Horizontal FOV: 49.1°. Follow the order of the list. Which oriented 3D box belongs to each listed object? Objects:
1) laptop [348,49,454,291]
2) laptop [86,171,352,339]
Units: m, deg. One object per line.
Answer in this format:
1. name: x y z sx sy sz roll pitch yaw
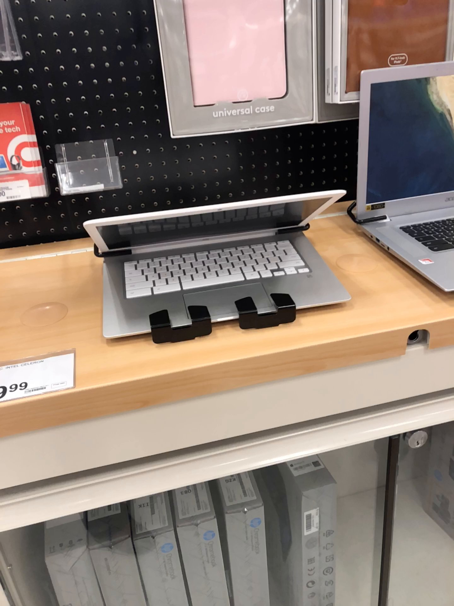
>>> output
1. laptop: 0.432 -0.228 0.761 0.388 0.244 0.274 -10 29 -12
2. laptop: -0.021 -0.084 0.713 0.330 0.100 0.216 -8 33 -8
